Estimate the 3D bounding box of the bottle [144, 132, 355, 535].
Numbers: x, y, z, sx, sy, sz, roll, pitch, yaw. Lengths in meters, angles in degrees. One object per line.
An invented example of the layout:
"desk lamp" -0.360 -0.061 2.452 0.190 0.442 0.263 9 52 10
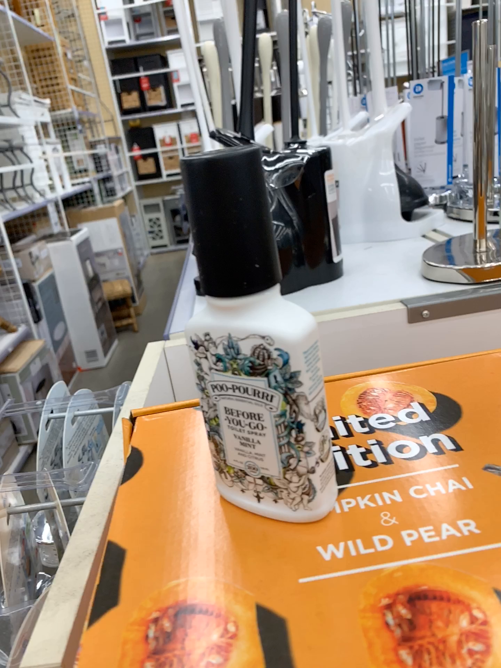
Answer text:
"bottle" 0.005 0.003 0.210 0.055 0.151 0.033 4 25 31
